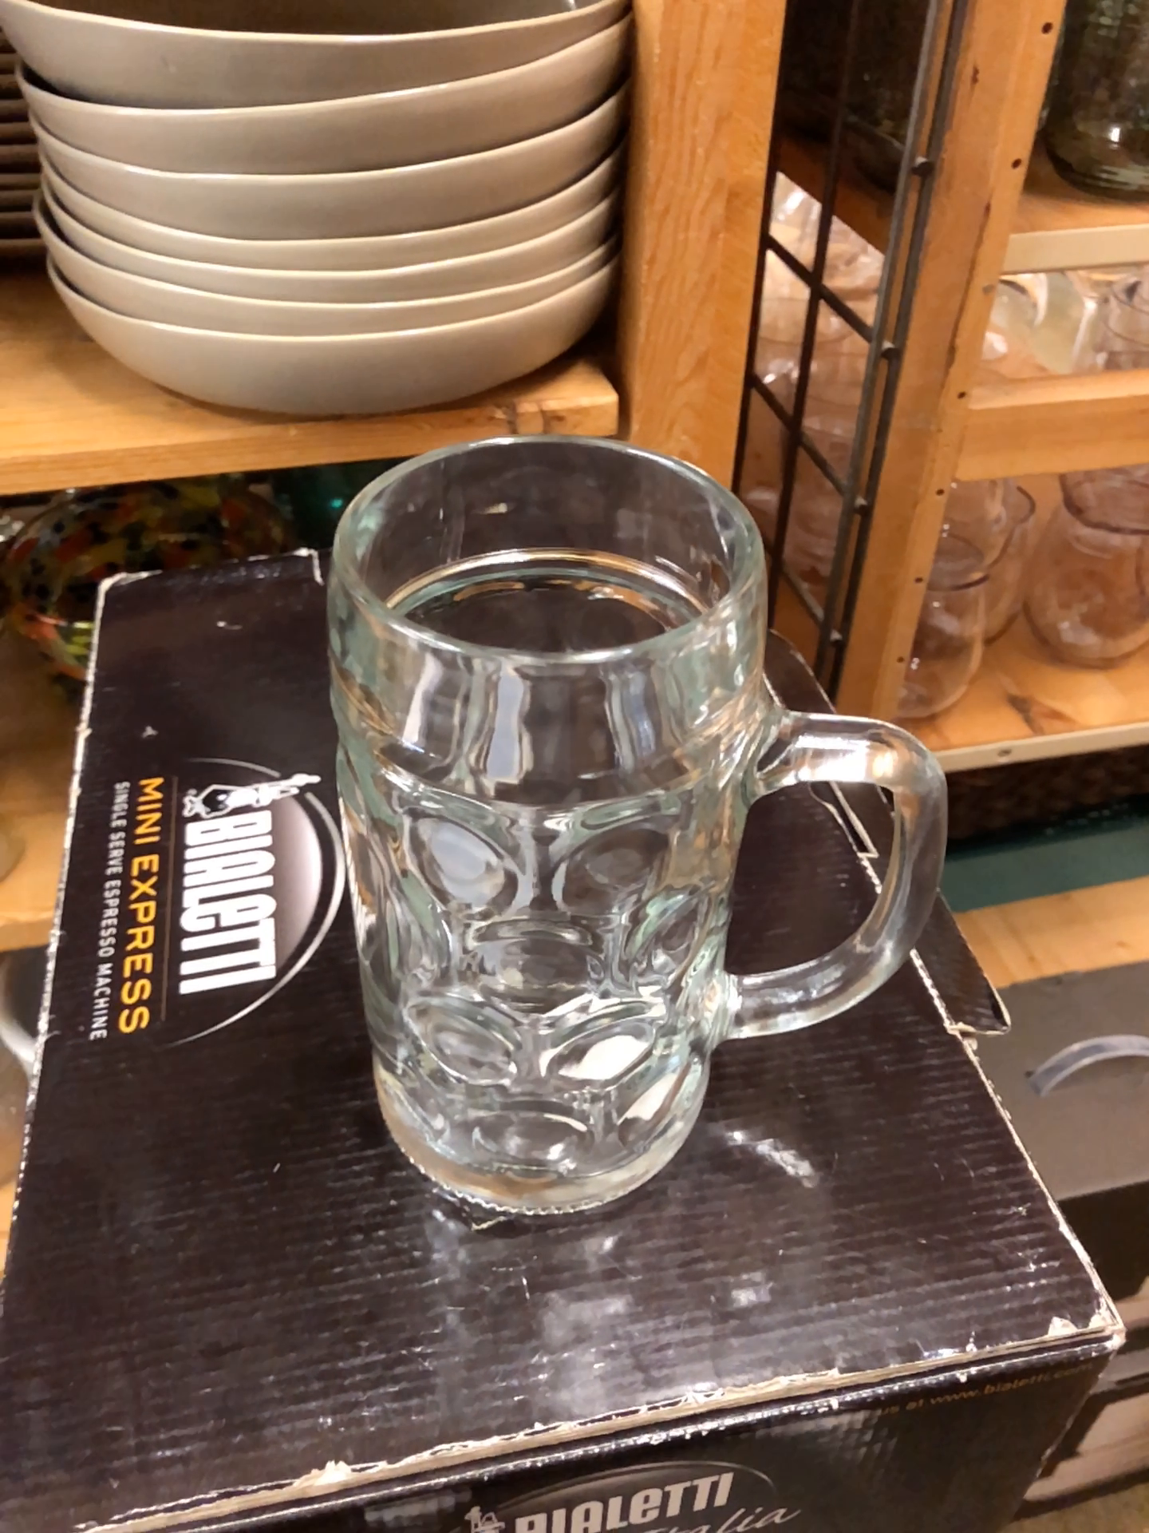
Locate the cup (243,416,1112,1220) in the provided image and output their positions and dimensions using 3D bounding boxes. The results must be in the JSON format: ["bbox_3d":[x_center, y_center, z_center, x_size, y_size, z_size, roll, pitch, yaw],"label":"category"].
[{"bbox_3d":[0.014,0.013,0.271,0.129,0.136,0.100,1,40,0],"label":"cup"}]
